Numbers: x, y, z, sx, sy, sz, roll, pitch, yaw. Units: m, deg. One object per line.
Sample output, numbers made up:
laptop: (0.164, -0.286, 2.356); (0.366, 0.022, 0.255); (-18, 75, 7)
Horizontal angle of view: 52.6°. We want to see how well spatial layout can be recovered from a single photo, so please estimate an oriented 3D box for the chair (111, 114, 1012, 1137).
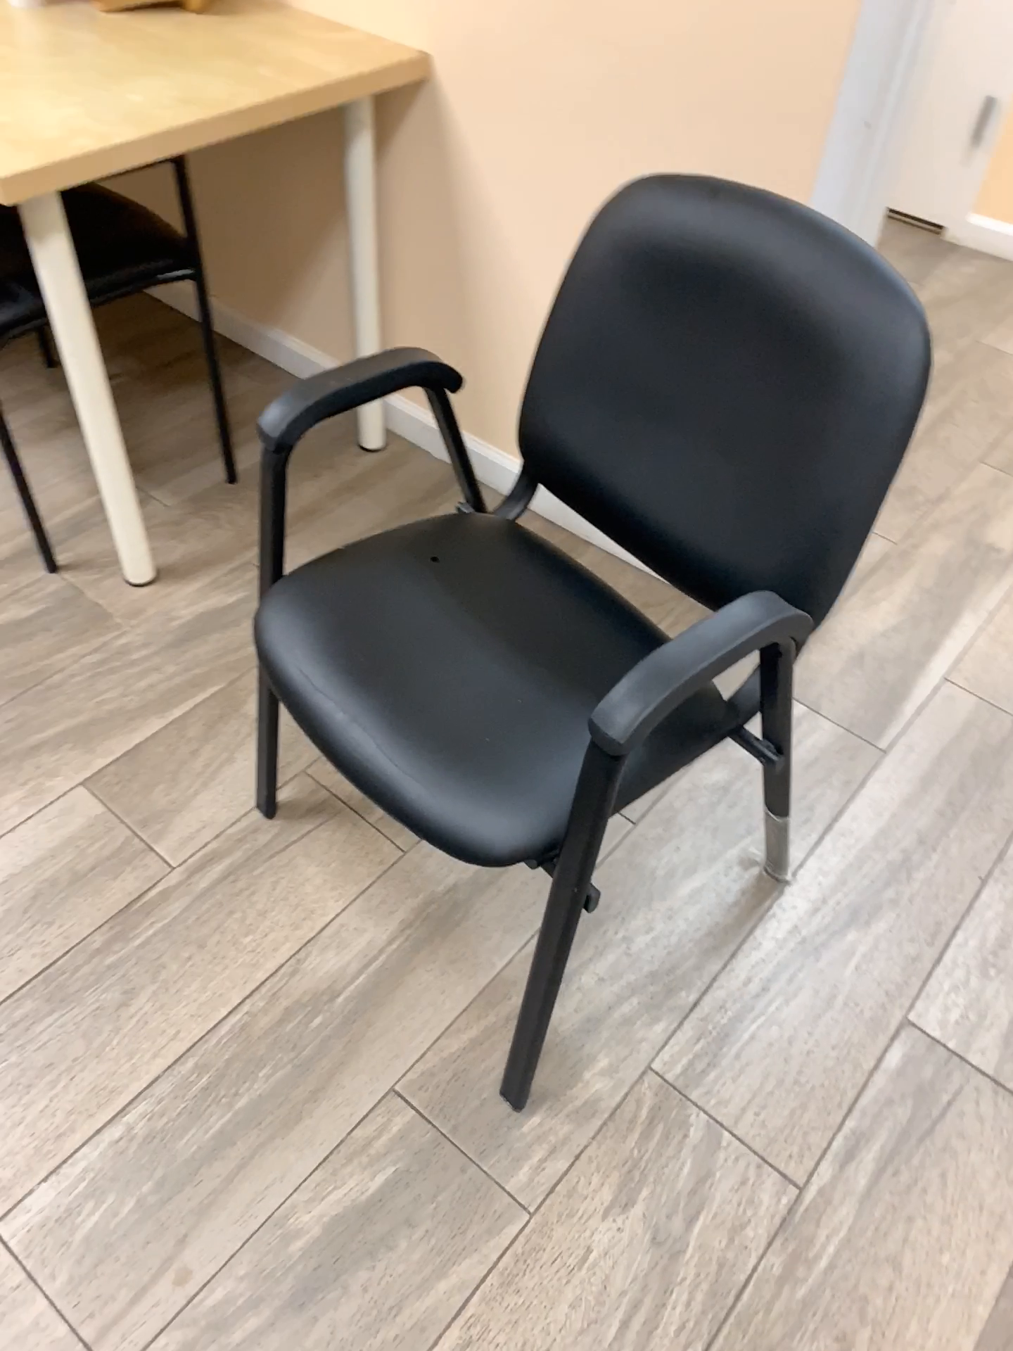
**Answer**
chair: (0.058, -0.060, 1.182); (0.607, 0.817, 0.607); (-29, 55, -28)
